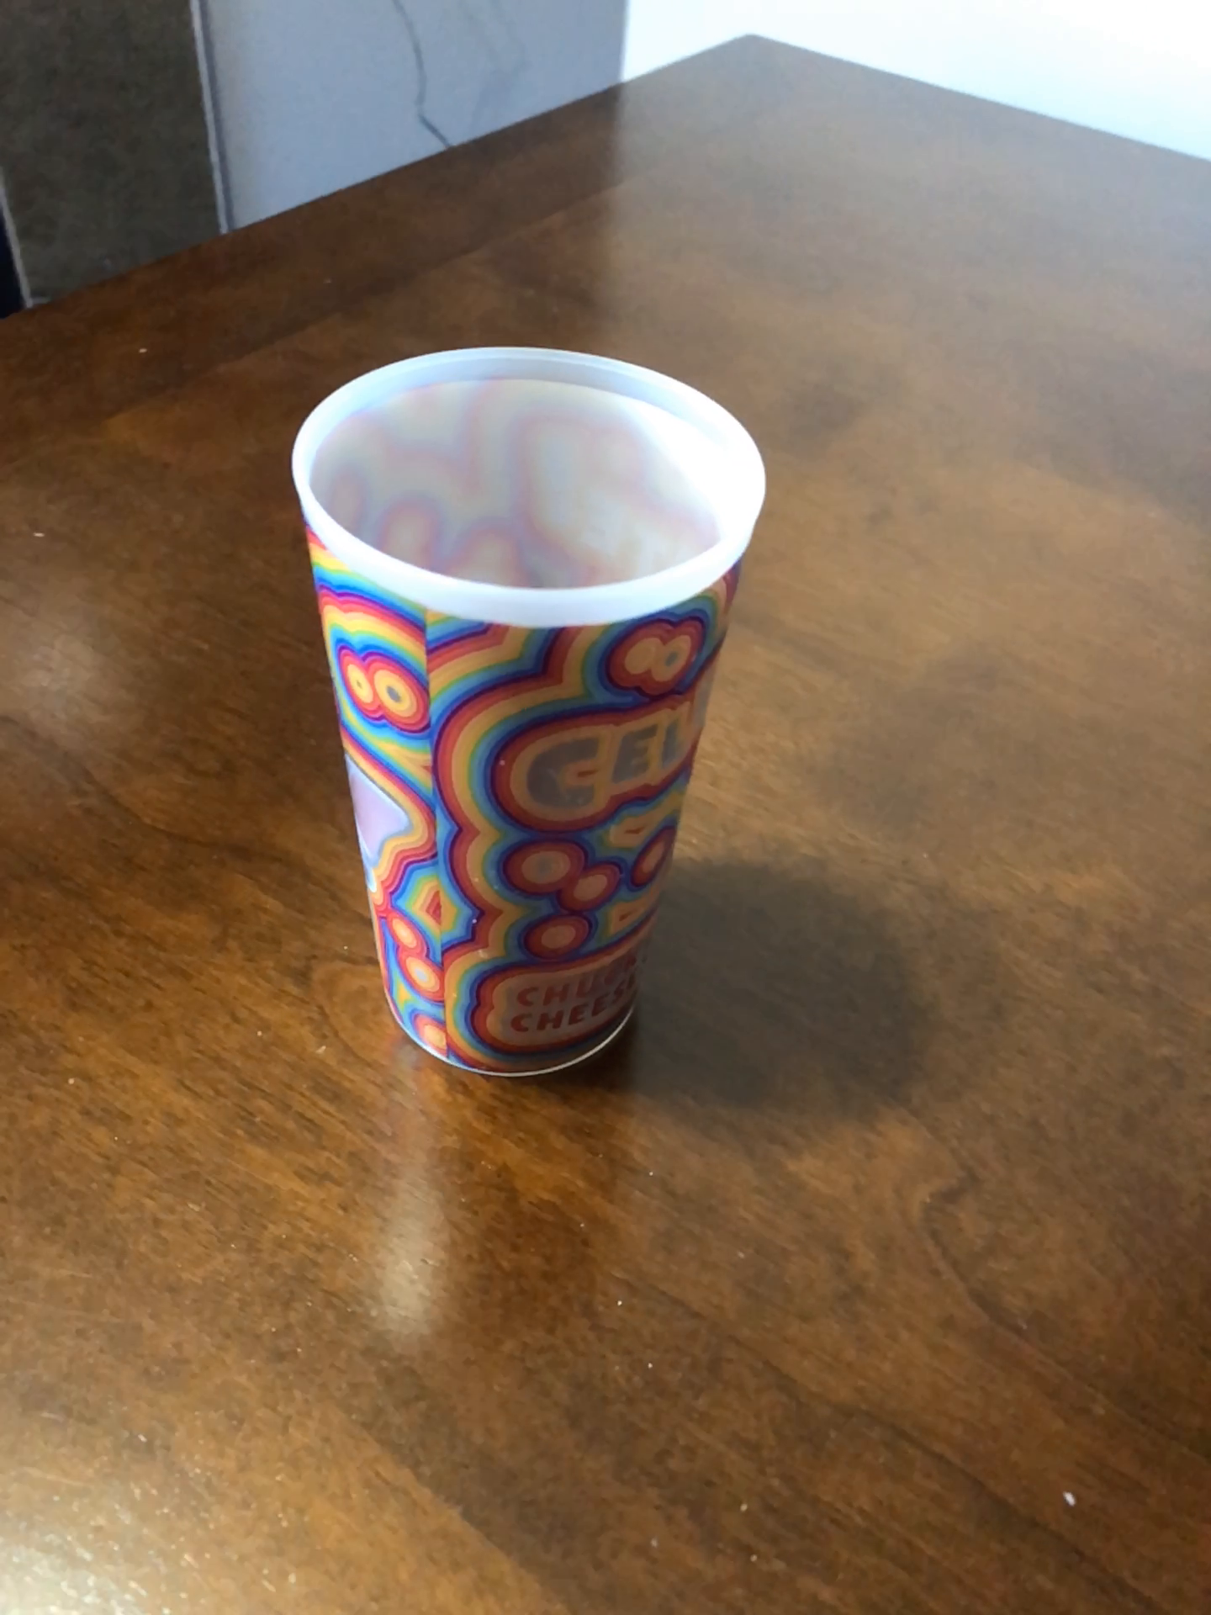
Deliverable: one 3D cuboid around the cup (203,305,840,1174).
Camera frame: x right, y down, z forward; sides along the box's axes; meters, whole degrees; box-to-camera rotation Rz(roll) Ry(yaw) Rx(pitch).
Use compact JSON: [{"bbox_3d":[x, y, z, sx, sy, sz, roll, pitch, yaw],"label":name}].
[{"bbox_3d":[-0.015,-0.009,0.253,0.070,0.130,0.070,3,44,-3],"label":"cup"}]
